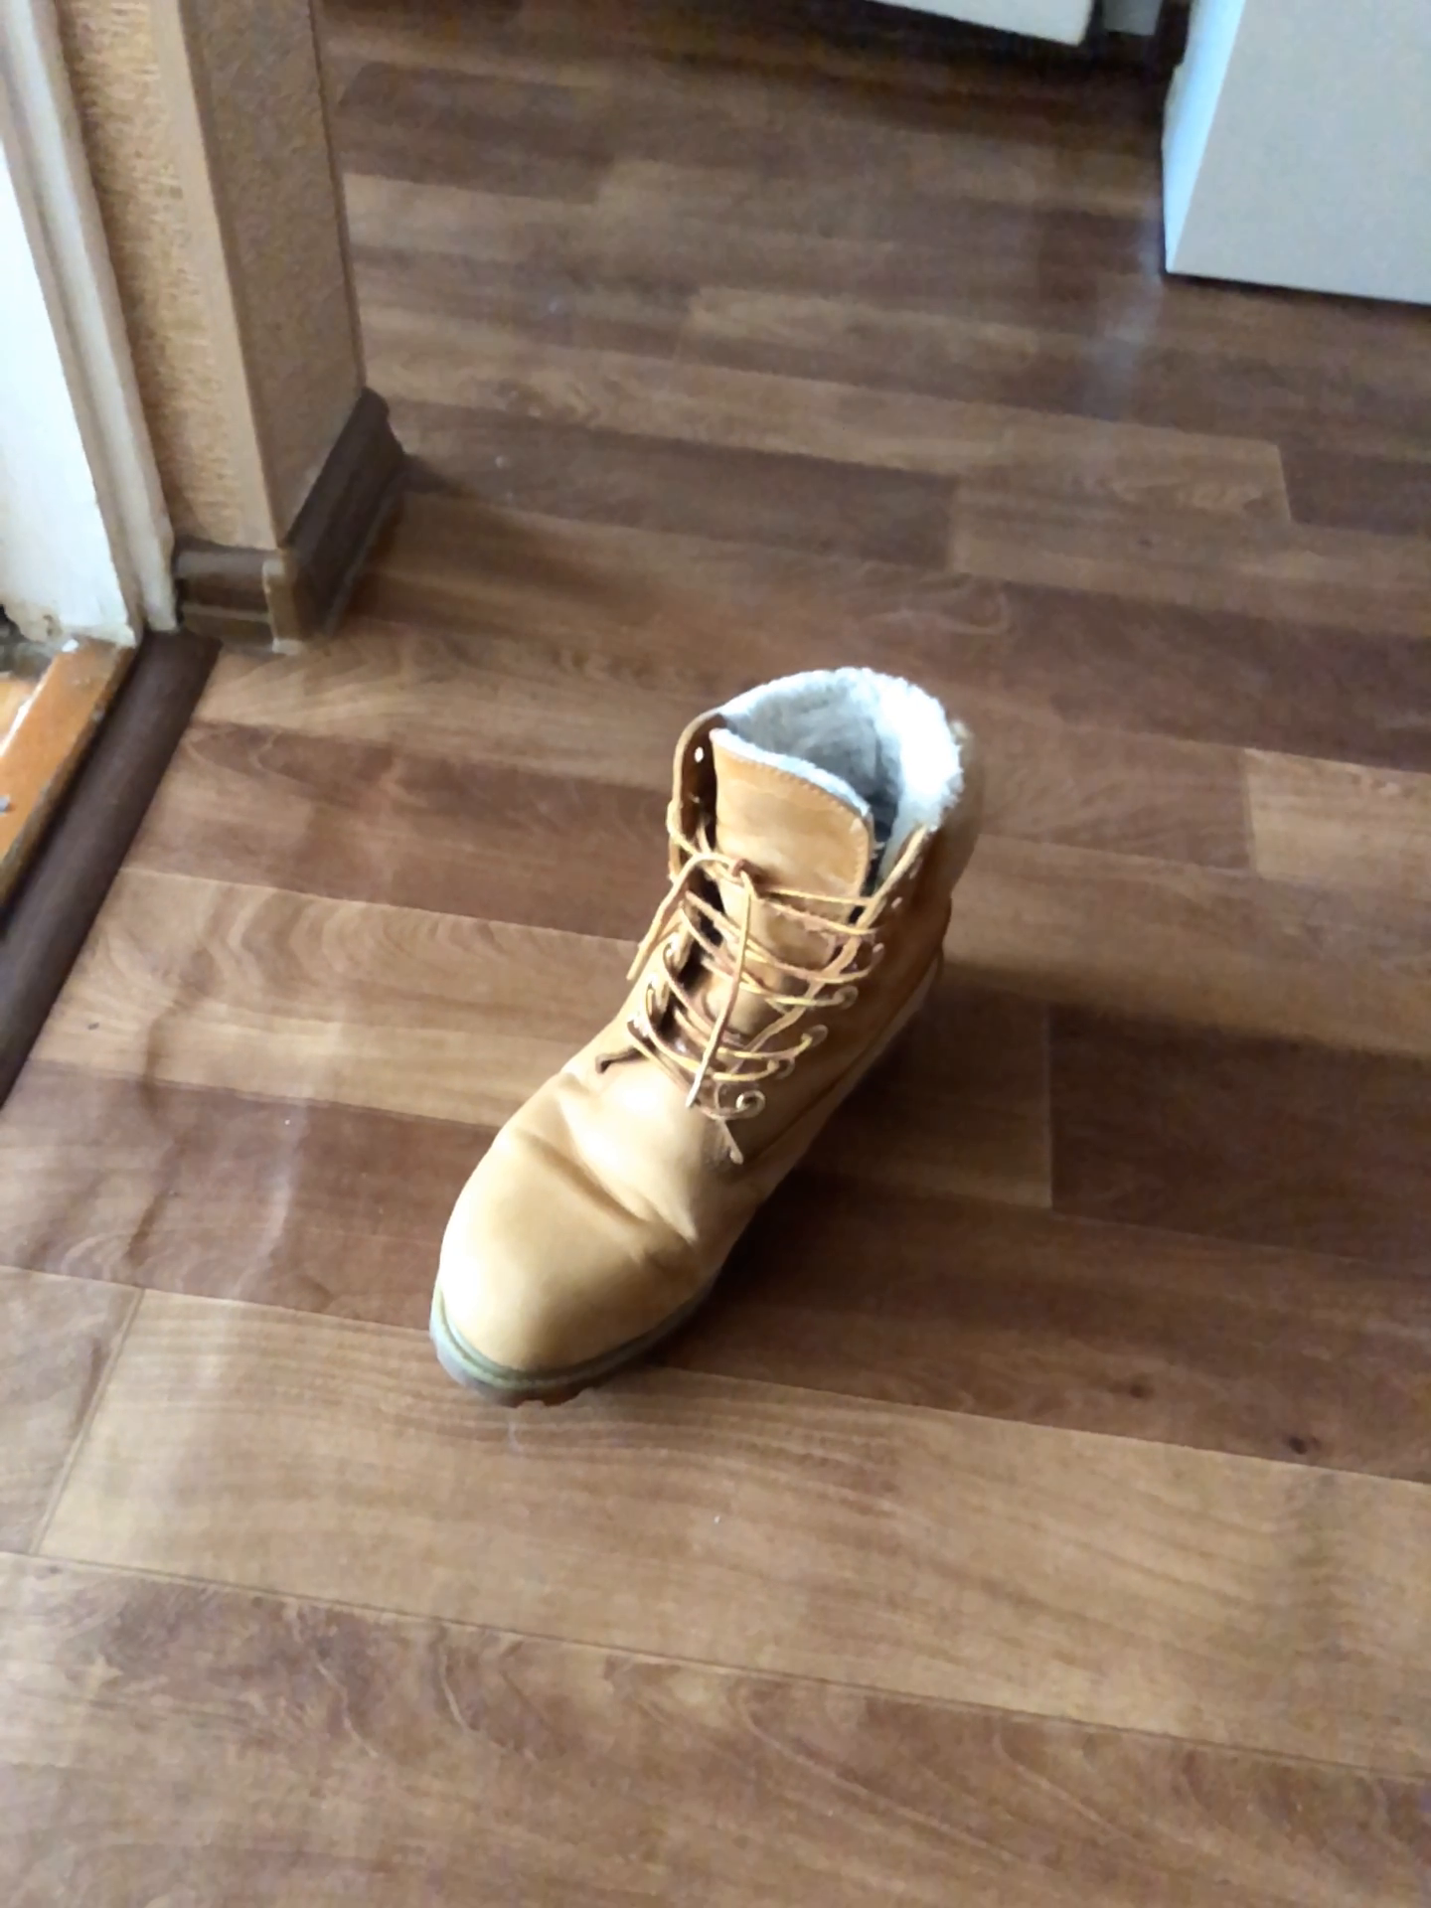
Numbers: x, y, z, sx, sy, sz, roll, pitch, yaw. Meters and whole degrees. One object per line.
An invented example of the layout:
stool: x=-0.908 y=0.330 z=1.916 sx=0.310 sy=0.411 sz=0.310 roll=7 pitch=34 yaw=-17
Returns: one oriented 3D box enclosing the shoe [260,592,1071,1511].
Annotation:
shoe: x=-0.008 y=0.028 z=0.600 sx=0.120 sy=0.179 sz=0.291 roll=32 pitch=55 yaw=20
